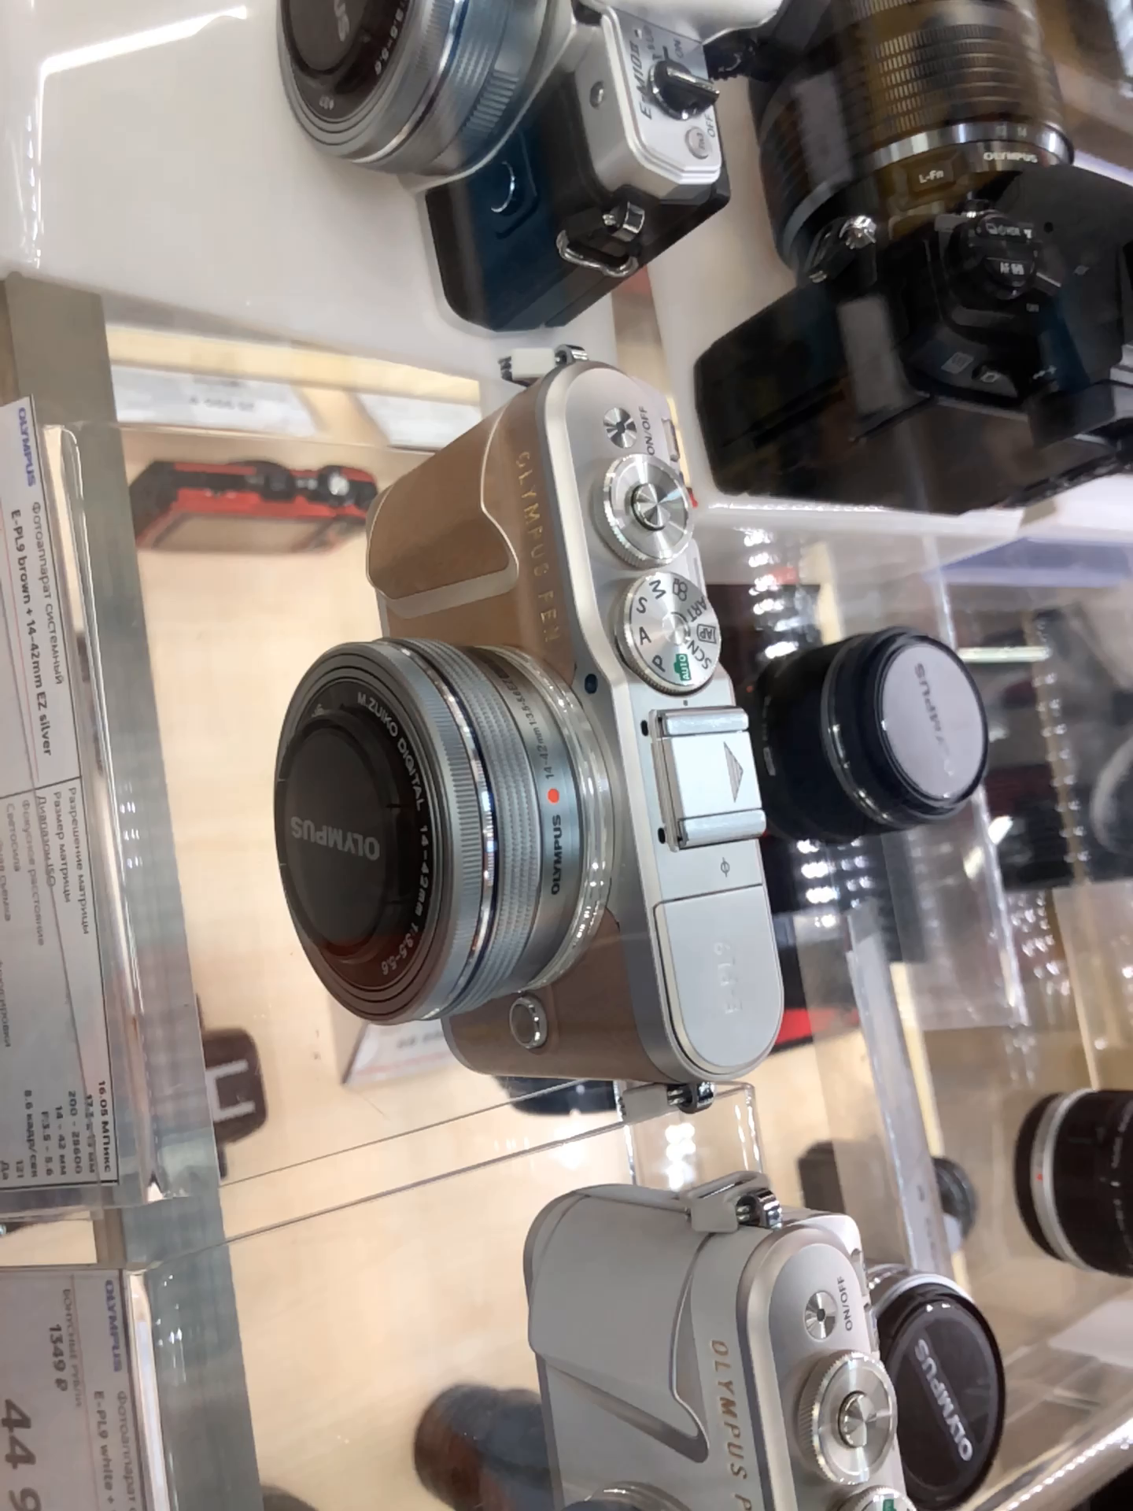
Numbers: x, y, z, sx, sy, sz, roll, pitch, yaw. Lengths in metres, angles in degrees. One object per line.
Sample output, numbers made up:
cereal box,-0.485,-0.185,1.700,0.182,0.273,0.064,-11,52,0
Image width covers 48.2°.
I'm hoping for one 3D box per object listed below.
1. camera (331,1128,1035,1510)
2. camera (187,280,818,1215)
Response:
camera,0.014,0.126,0.188,0.060,0.060,0.122,-5,82,-37
camera,-0.013,0.000,0.203,0.060,0.060,0.122,-5,82,-37
